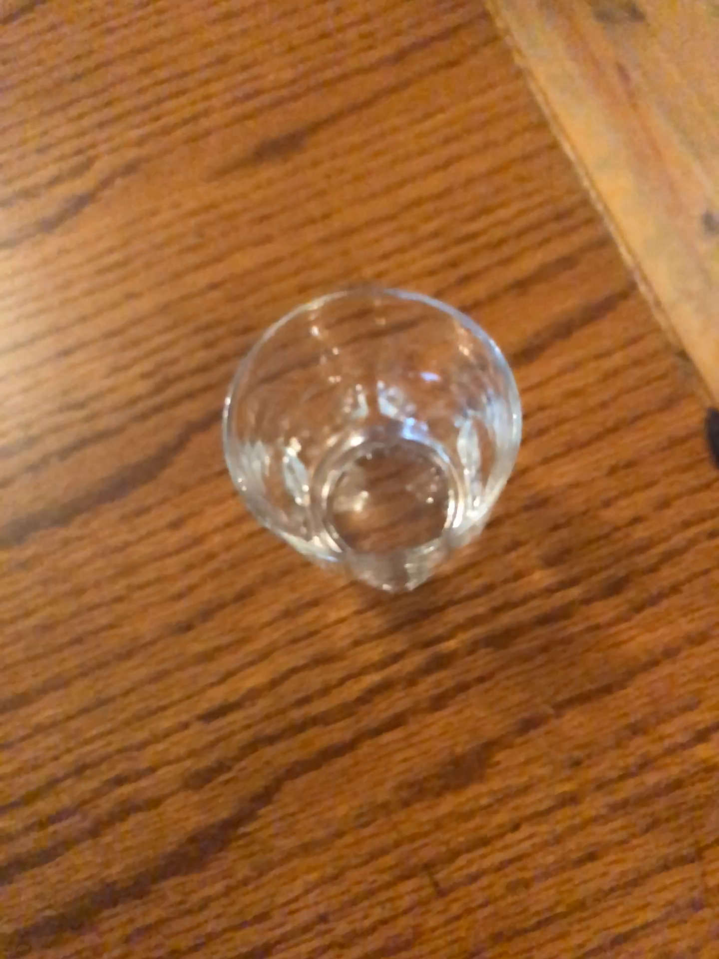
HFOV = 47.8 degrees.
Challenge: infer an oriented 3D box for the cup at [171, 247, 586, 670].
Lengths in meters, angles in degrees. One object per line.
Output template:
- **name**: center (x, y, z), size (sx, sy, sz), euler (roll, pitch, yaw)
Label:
- **cup**: center (0.006, -0.003, 0.250), size (0.082, 0.069, 0.083), euler (-2, 70, 5)
